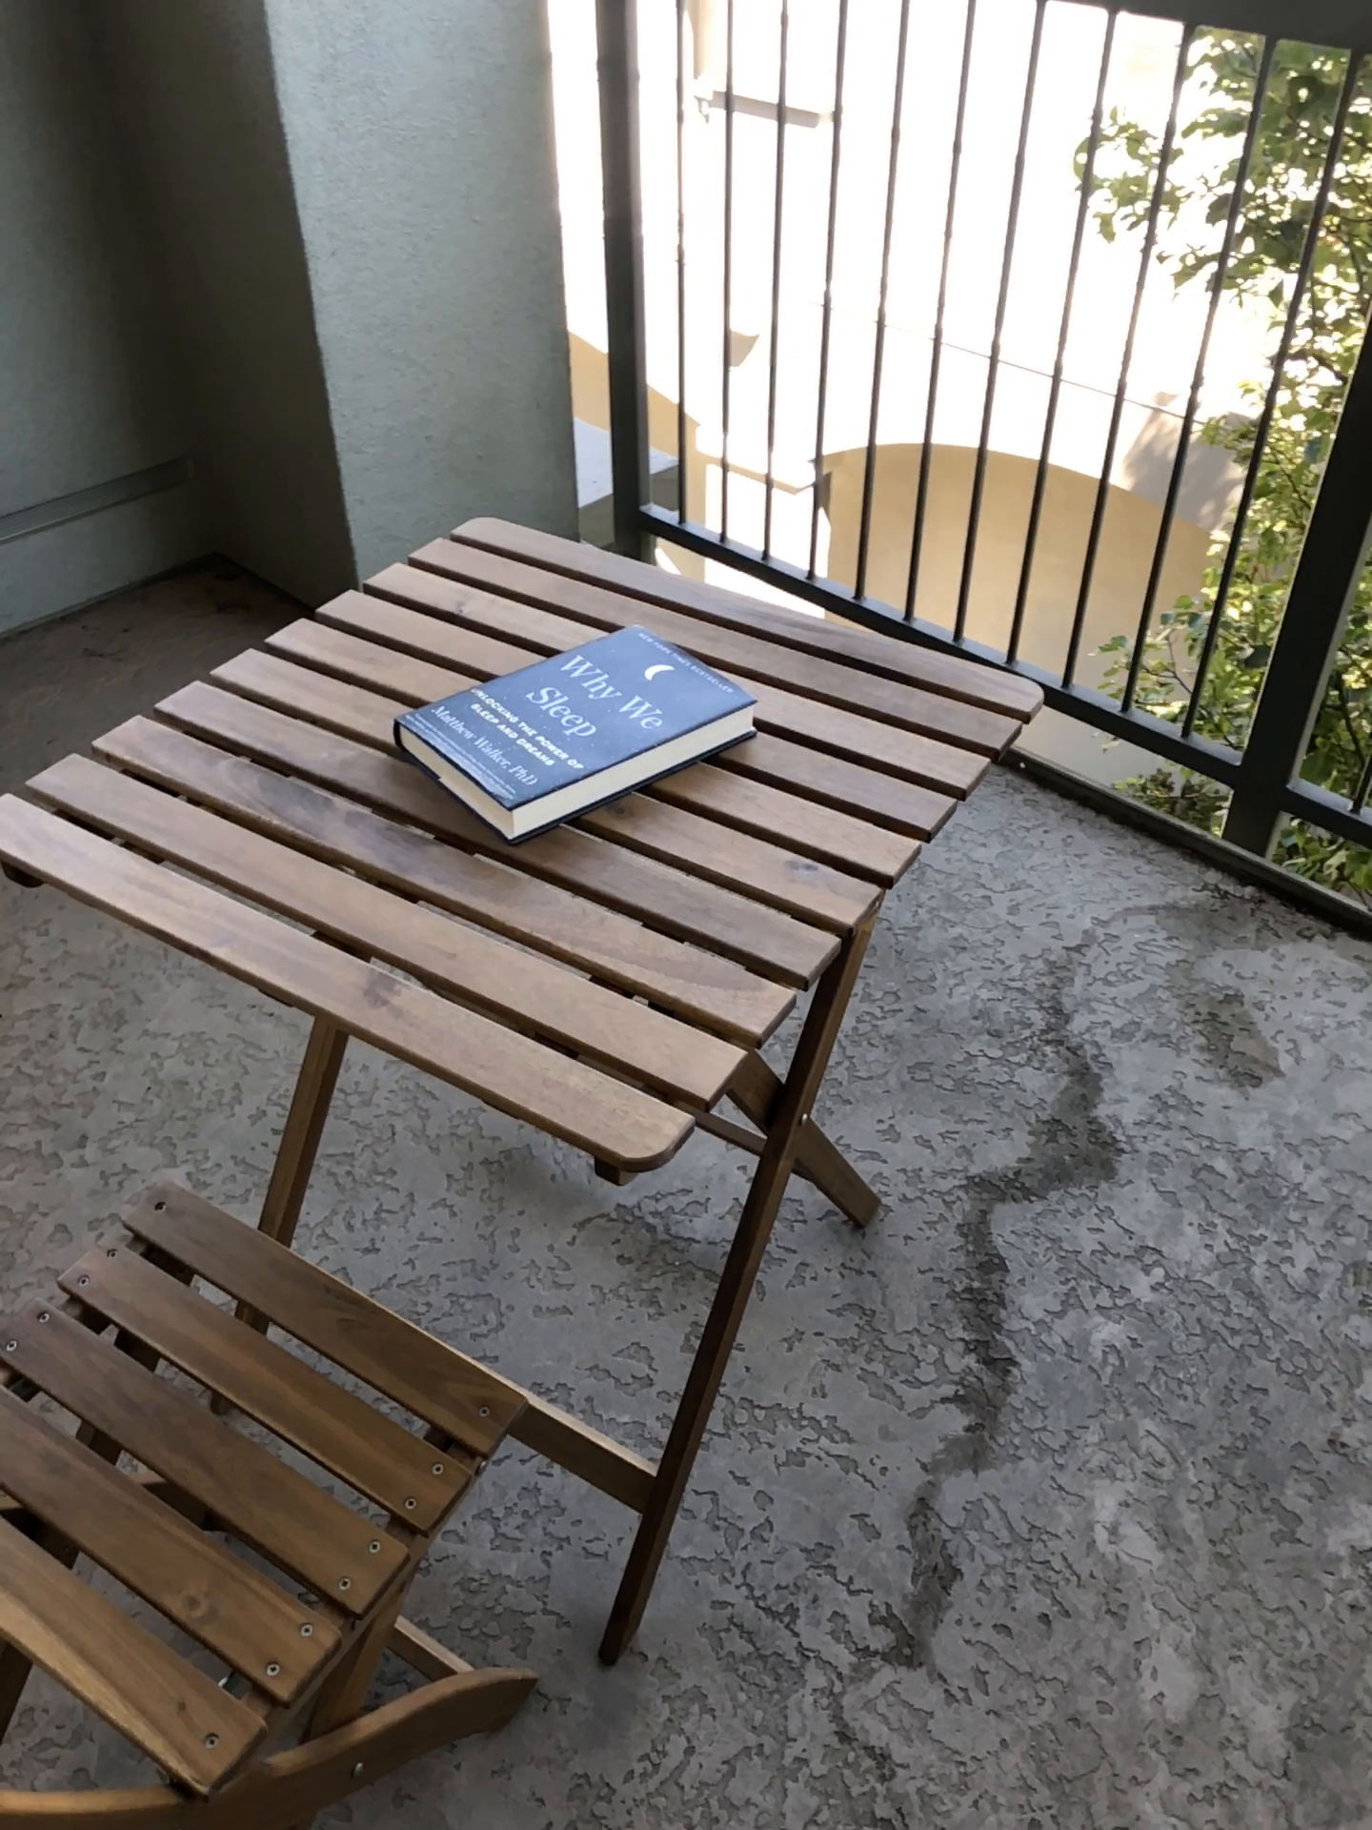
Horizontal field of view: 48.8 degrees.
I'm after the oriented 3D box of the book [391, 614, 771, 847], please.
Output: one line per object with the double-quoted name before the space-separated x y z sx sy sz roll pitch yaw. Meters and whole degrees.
"book" -0.079 -0.149 1.164 0.235 0.029 0.171 -27 47 -28
